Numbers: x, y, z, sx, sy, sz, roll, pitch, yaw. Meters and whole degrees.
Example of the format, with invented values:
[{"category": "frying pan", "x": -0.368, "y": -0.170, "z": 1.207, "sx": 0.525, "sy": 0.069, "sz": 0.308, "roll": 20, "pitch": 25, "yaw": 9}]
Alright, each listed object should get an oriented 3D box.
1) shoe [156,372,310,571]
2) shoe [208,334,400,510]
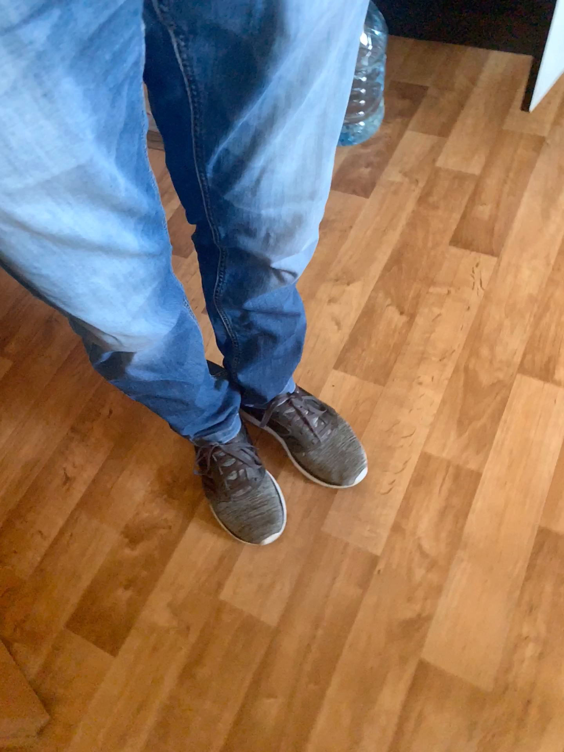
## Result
[{"category": "shoe", "x": -0.082, "y": 0.150, "z": 0.938, "sx": 0.124, "sy": 0.100, "sz": 0.281, "roll": -28, "pitch": 60, "yaw": -9}, {"category": "shoe", "x": 0.035, "y": 0.072, "z": 0.969, "sx": 0.291, "sy": 0.100, "sz": 0.134, "roll": 34, "pitch": 69, "yaw": 24}]
